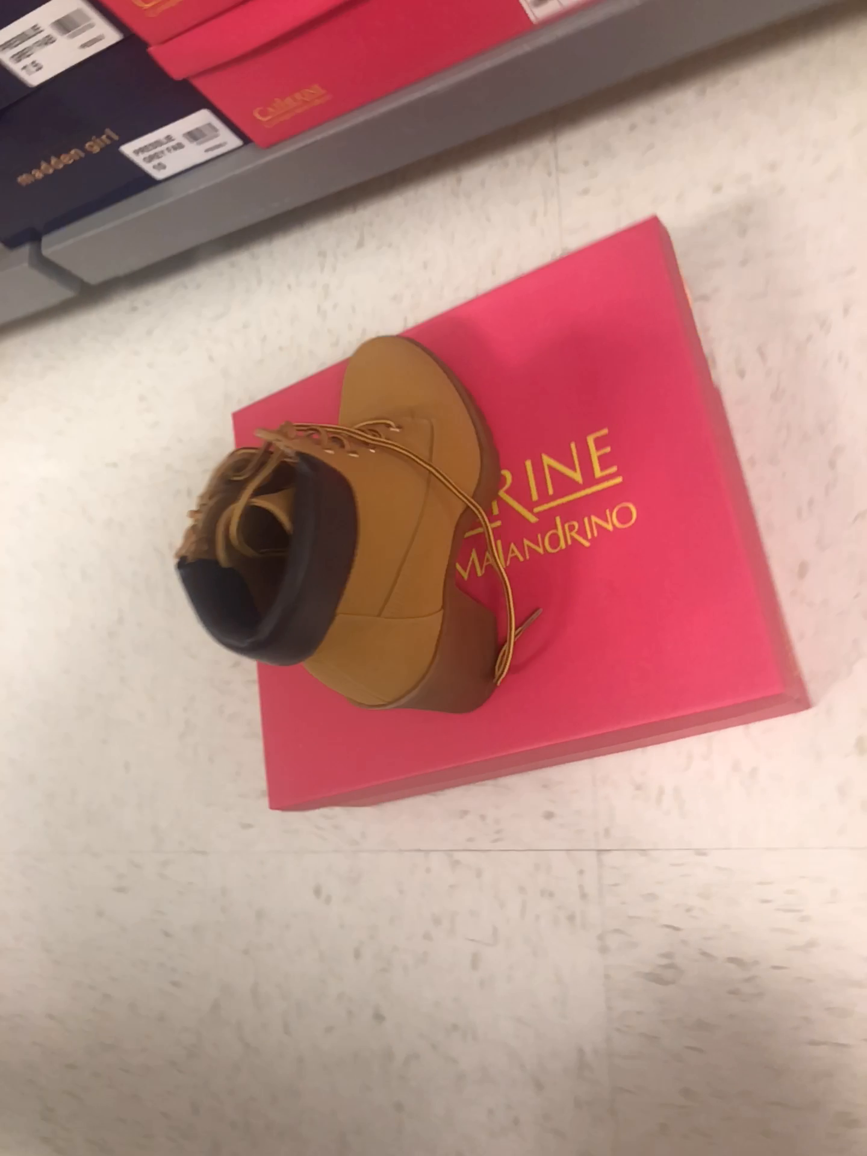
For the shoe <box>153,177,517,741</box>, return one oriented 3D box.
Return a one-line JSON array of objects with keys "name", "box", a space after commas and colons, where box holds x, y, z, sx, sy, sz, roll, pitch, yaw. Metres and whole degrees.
[{"name": "shoe", "box": [-0.044, -0.042, 0.474, 0.085, 0.169, 0.217, -14, 70, 26]}]
